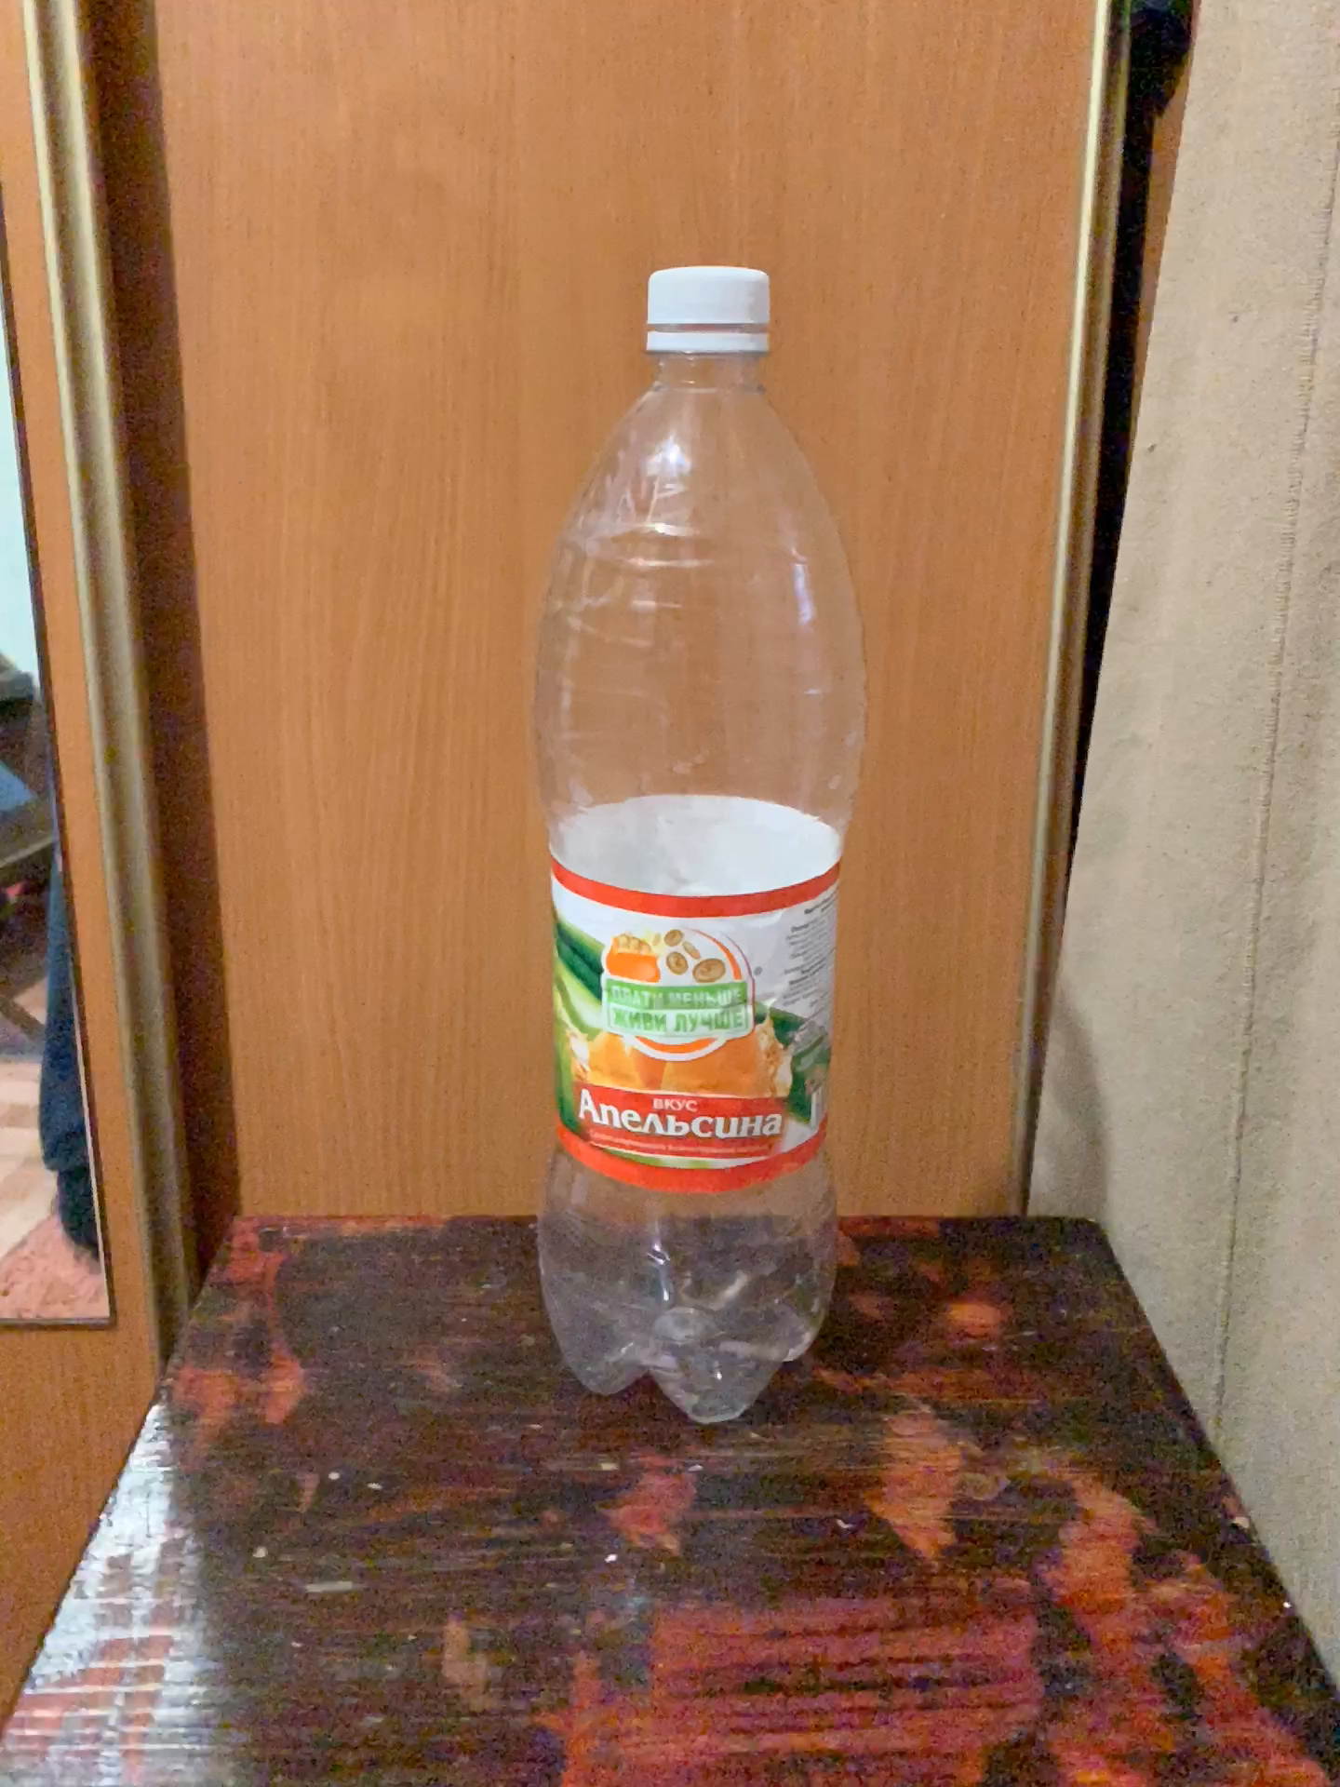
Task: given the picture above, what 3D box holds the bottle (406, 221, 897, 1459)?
[{"bbox_3d":[0.004,-0.011,0.399,0.100,0.318,0.101,-1,19,0],"label":"bottle"}]
